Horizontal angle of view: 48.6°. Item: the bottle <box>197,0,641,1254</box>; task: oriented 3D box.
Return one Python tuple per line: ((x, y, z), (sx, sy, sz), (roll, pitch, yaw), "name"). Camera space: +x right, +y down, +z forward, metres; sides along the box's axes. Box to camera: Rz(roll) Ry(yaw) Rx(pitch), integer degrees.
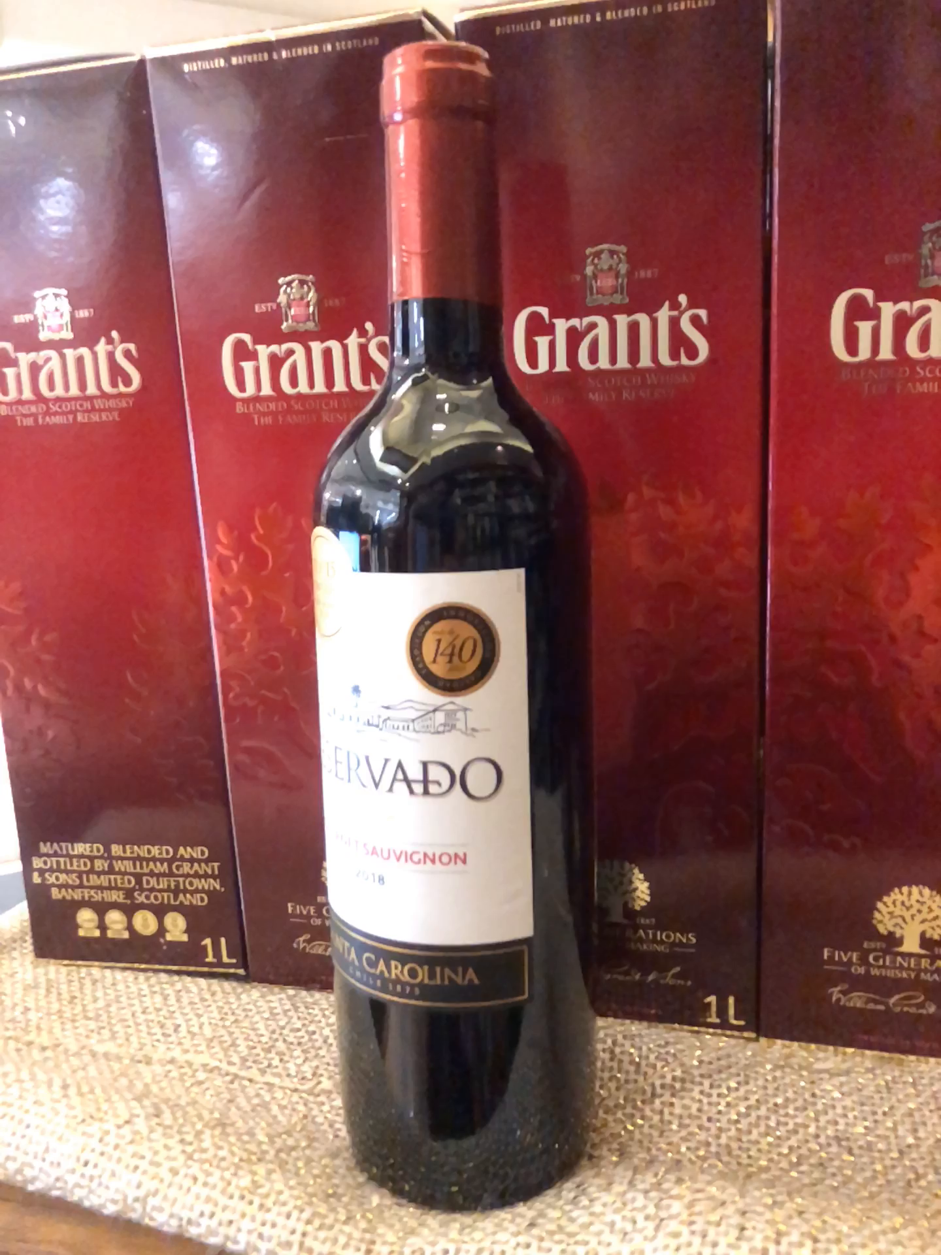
((-0.007, 0.000, 0.275), (0.080, 0.289, 0.070), (5, 13, 31), "bottle")
